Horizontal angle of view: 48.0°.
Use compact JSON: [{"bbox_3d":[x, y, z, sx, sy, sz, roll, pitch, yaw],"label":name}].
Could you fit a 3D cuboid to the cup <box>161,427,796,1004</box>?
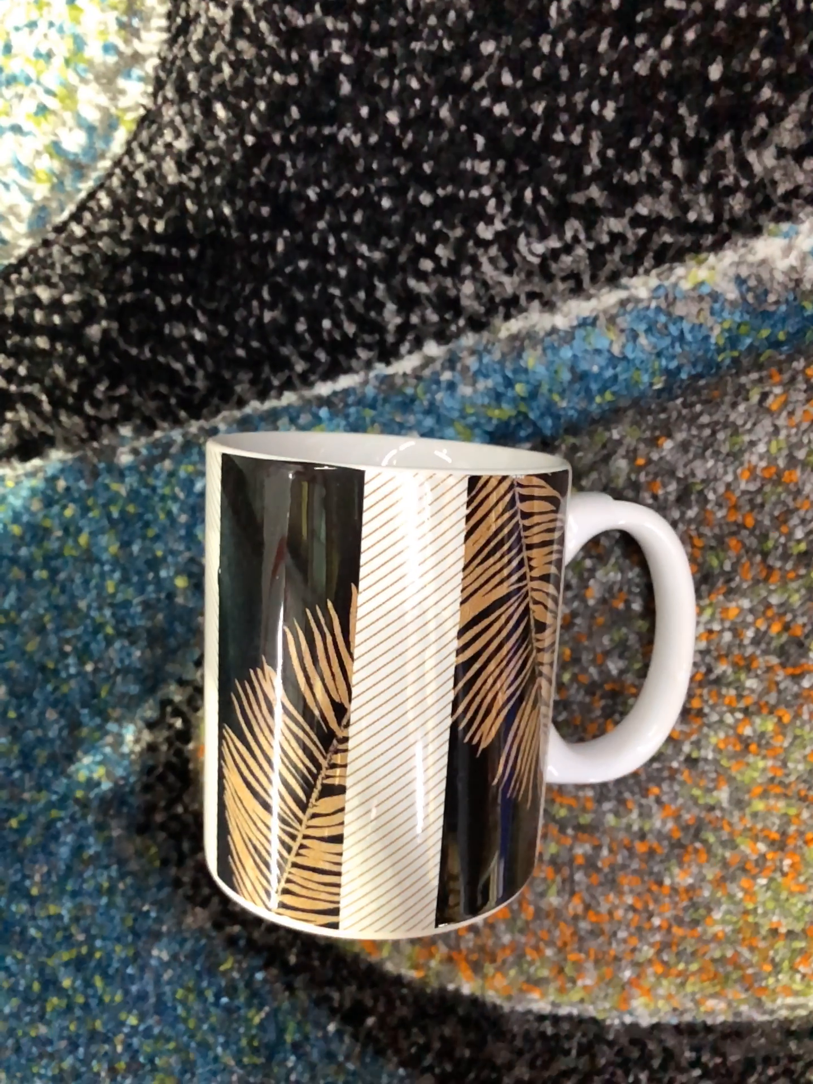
[{"bbox_3d":[0.008,0.028,0.207,0.120,0.070,0.100,-2,102,-16],"label":"cup"}]
